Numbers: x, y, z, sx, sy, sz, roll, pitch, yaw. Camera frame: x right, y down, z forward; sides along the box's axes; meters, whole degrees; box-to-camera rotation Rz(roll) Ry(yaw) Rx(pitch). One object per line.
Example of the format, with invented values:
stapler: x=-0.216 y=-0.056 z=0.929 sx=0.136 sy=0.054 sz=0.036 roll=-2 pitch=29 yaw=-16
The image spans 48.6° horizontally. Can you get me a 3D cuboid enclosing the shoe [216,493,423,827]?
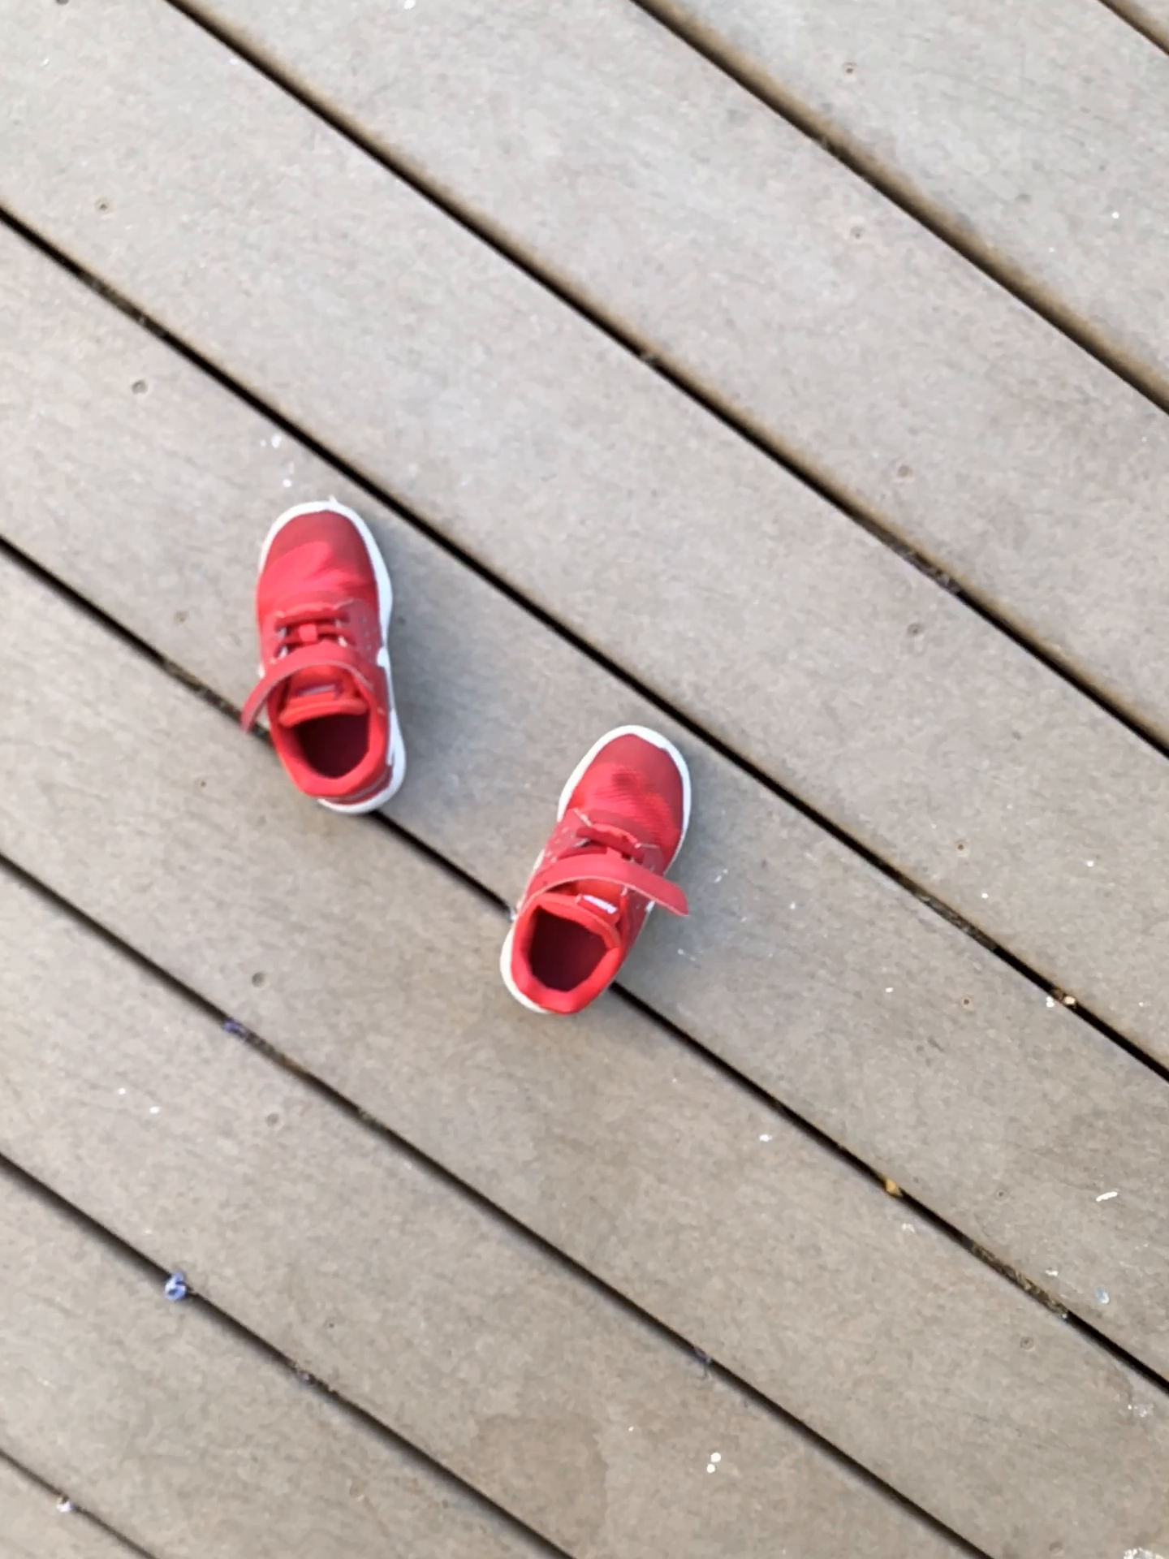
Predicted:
shoe: x=-0.131 y=-0.059 z=0.657 sx=0.073 sy=0.070 sz=0.153 roll=-7 pitch=94 yaw=0

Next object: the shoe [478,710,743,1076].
shoe: x=0.012 y=0.054 z=0.664 sx=0.069 sy=0.070 sz=0.164 roll=23 pitch=94 yaw=-3
